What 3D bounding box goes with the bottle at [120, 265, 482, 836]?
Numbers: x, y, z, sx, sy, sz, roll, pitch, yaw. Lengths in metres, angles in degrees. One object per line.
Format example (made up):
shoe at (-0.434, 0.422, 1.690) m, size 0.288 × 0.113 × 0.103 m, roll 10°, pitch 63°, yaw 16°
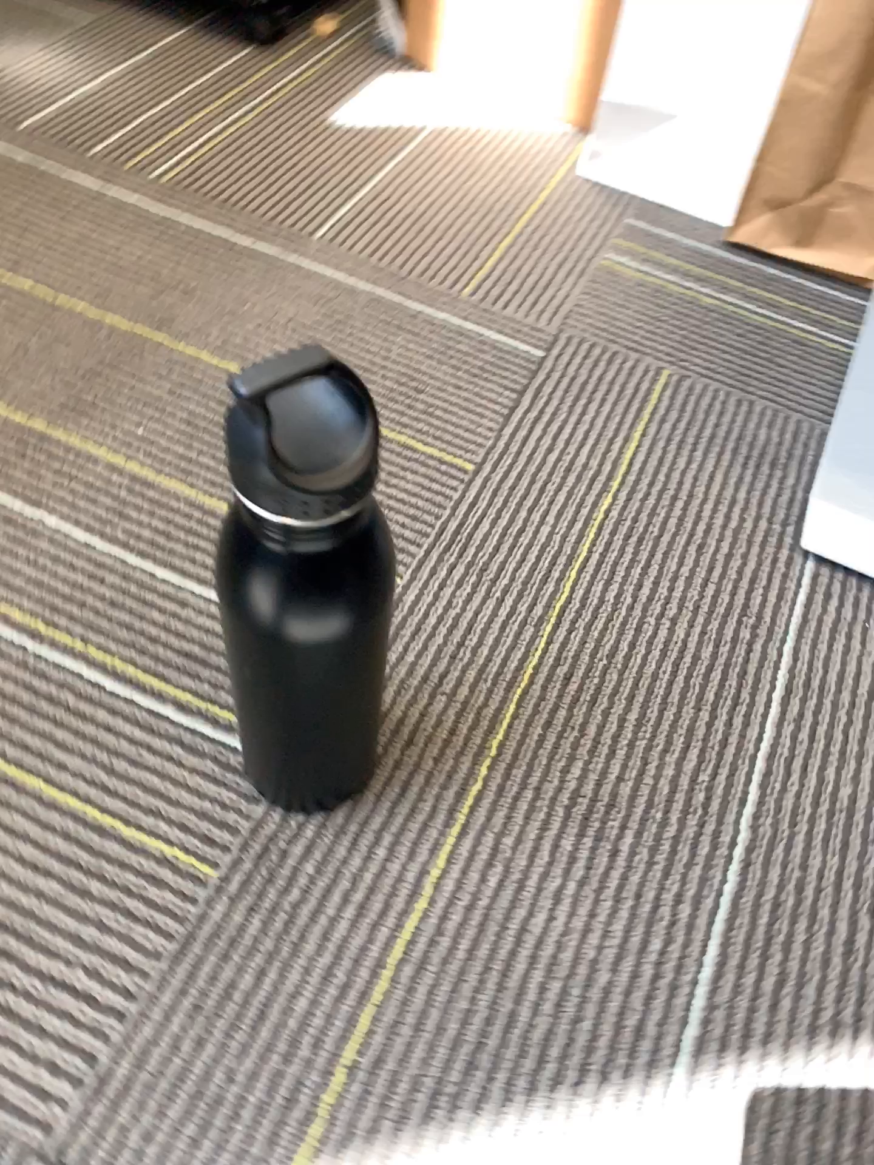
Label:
bottle at (-0.054, 0.008, 0.367) m, size 0.090 × 0.249 × 0.080 m, roll -12°, pitch 56°, yaw -15°
